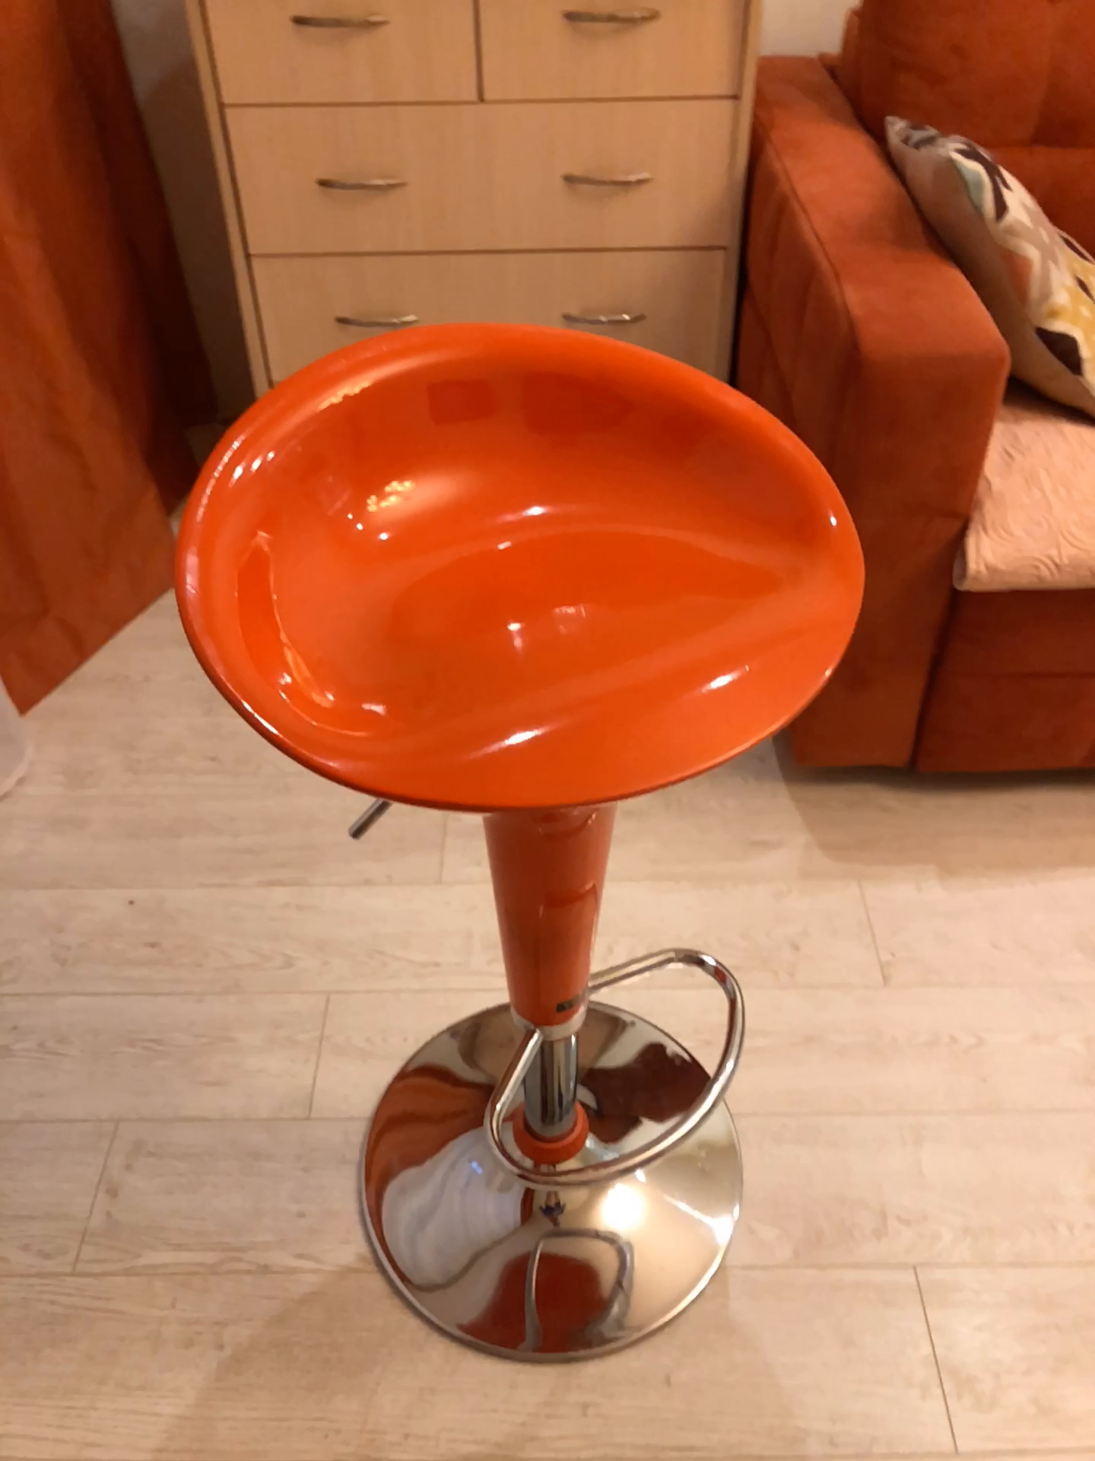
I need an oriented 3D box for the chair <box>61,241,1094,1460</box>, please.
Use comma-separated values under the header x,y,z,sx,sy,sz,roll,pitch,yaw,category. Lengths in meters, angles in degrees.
x,y,z,sx,sy,sz,roll,pitch,yaw,category
0.023,0.123,0.866,0.401,0.735,0.392,-29,49,-27,chair
